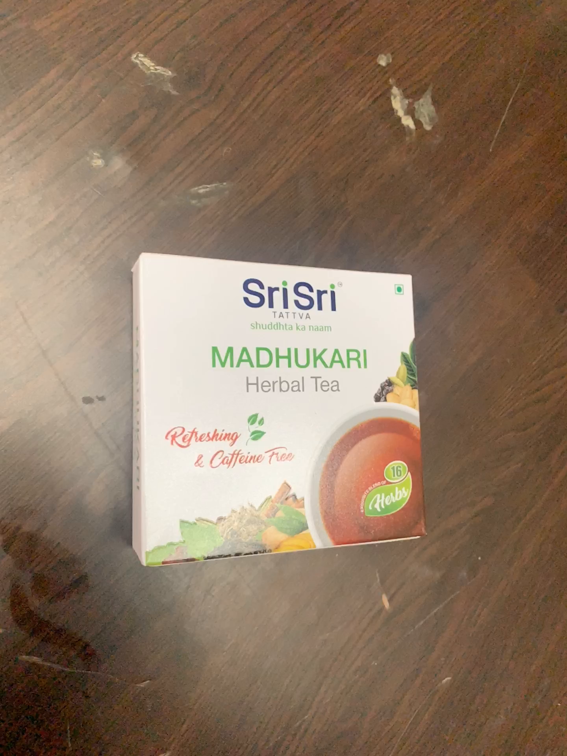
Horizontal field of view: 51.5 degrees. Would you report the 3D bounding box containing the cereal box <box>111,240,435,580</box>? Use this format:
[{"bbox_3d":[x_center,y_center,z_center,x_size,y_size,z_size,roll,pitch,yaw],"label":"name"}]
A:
[{"bbox_3d":[-0.004,0.012,0.249,0.130,0.040,0.120,1,88,-21],"label":"cereal box"}]
